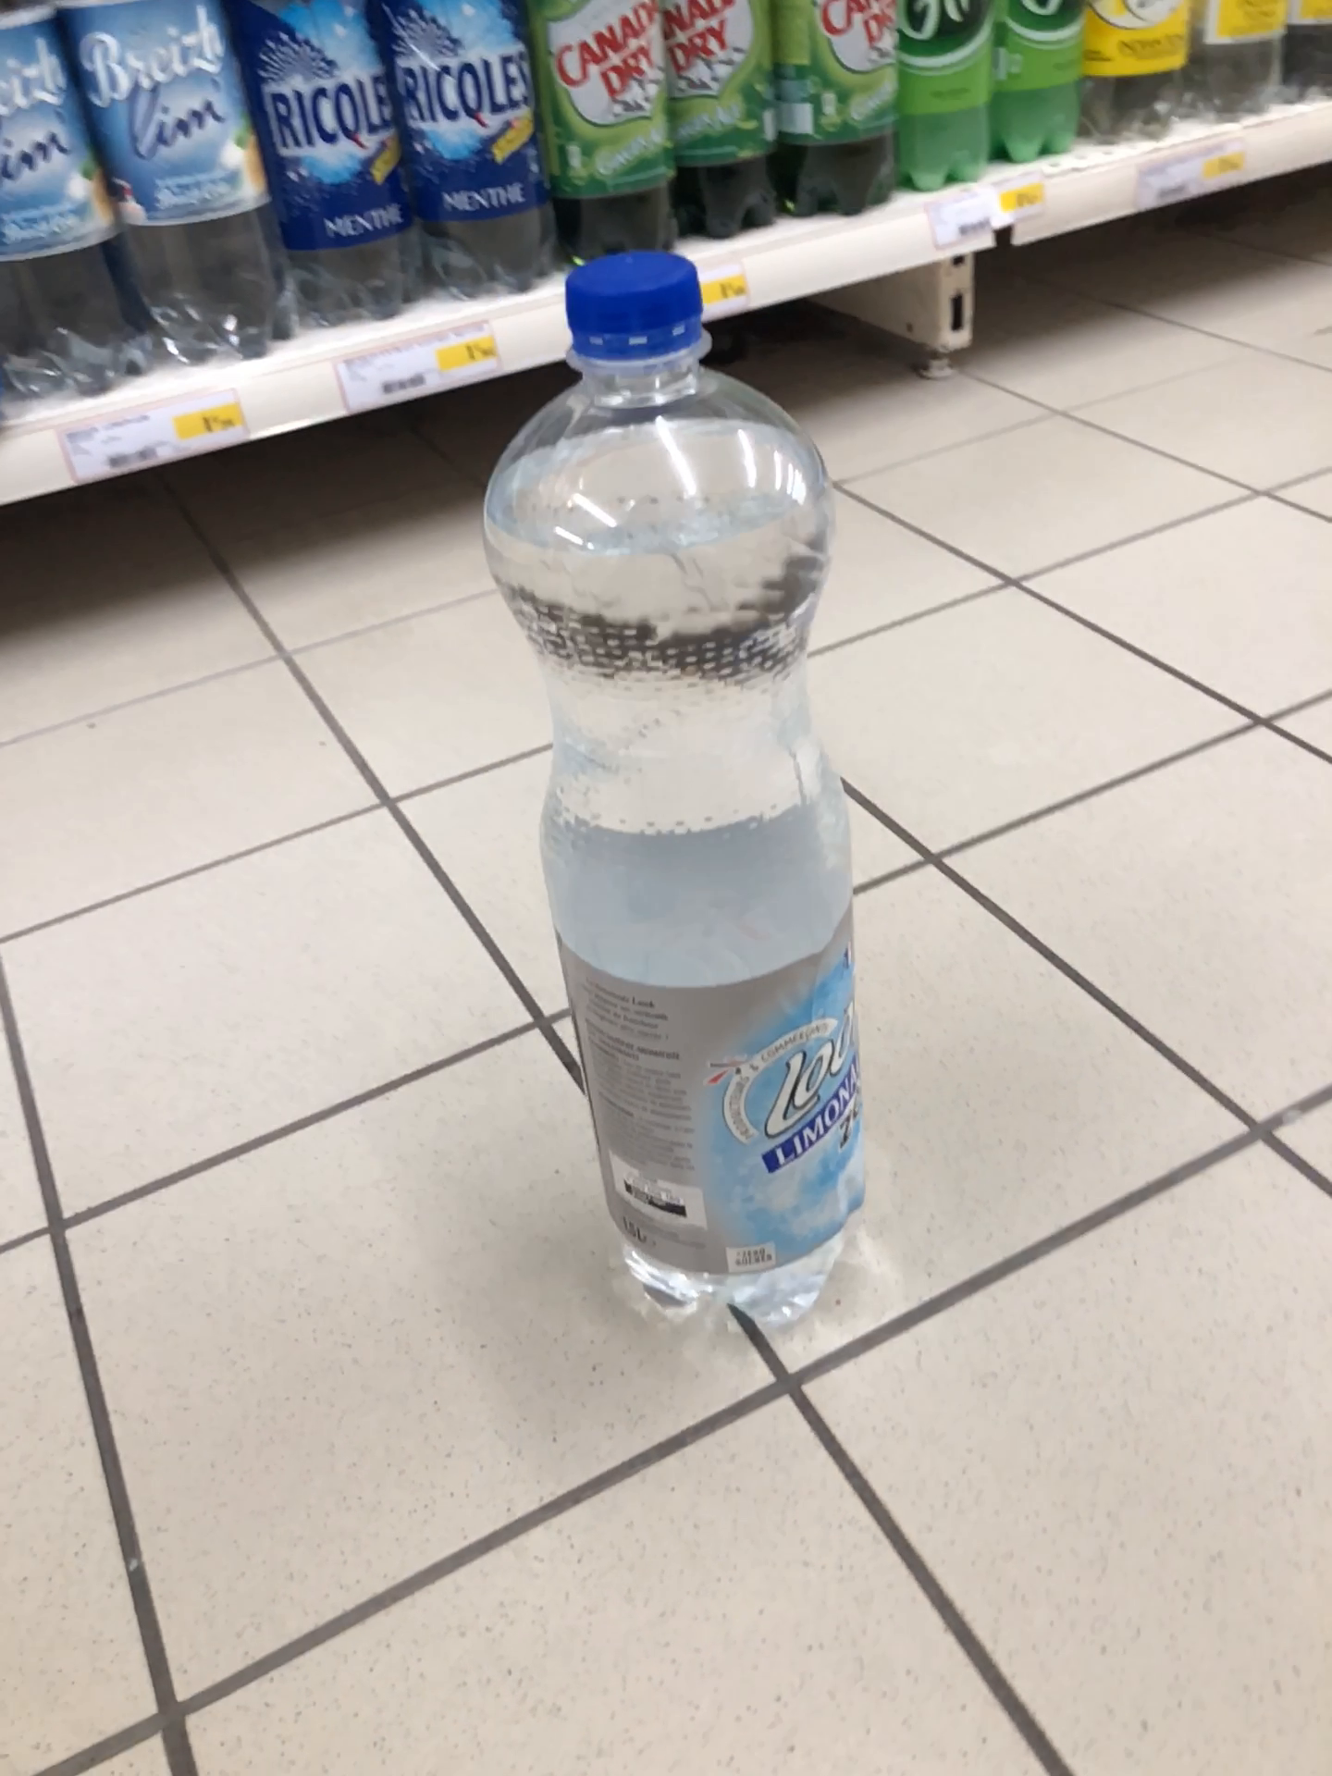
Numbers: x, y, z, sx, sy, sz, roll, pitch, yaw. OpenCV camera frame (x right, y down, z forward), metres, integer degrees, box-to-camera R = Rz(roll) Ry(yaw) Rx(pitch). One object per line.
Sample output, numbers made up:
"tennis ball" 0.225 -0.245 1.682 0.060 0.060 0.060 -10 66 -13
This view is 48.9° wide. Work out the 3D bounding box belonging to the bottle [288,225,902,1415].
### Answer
"bottle" 0.002 -0.003 0.424 0.100 0.328 0.101 -5 36 3
